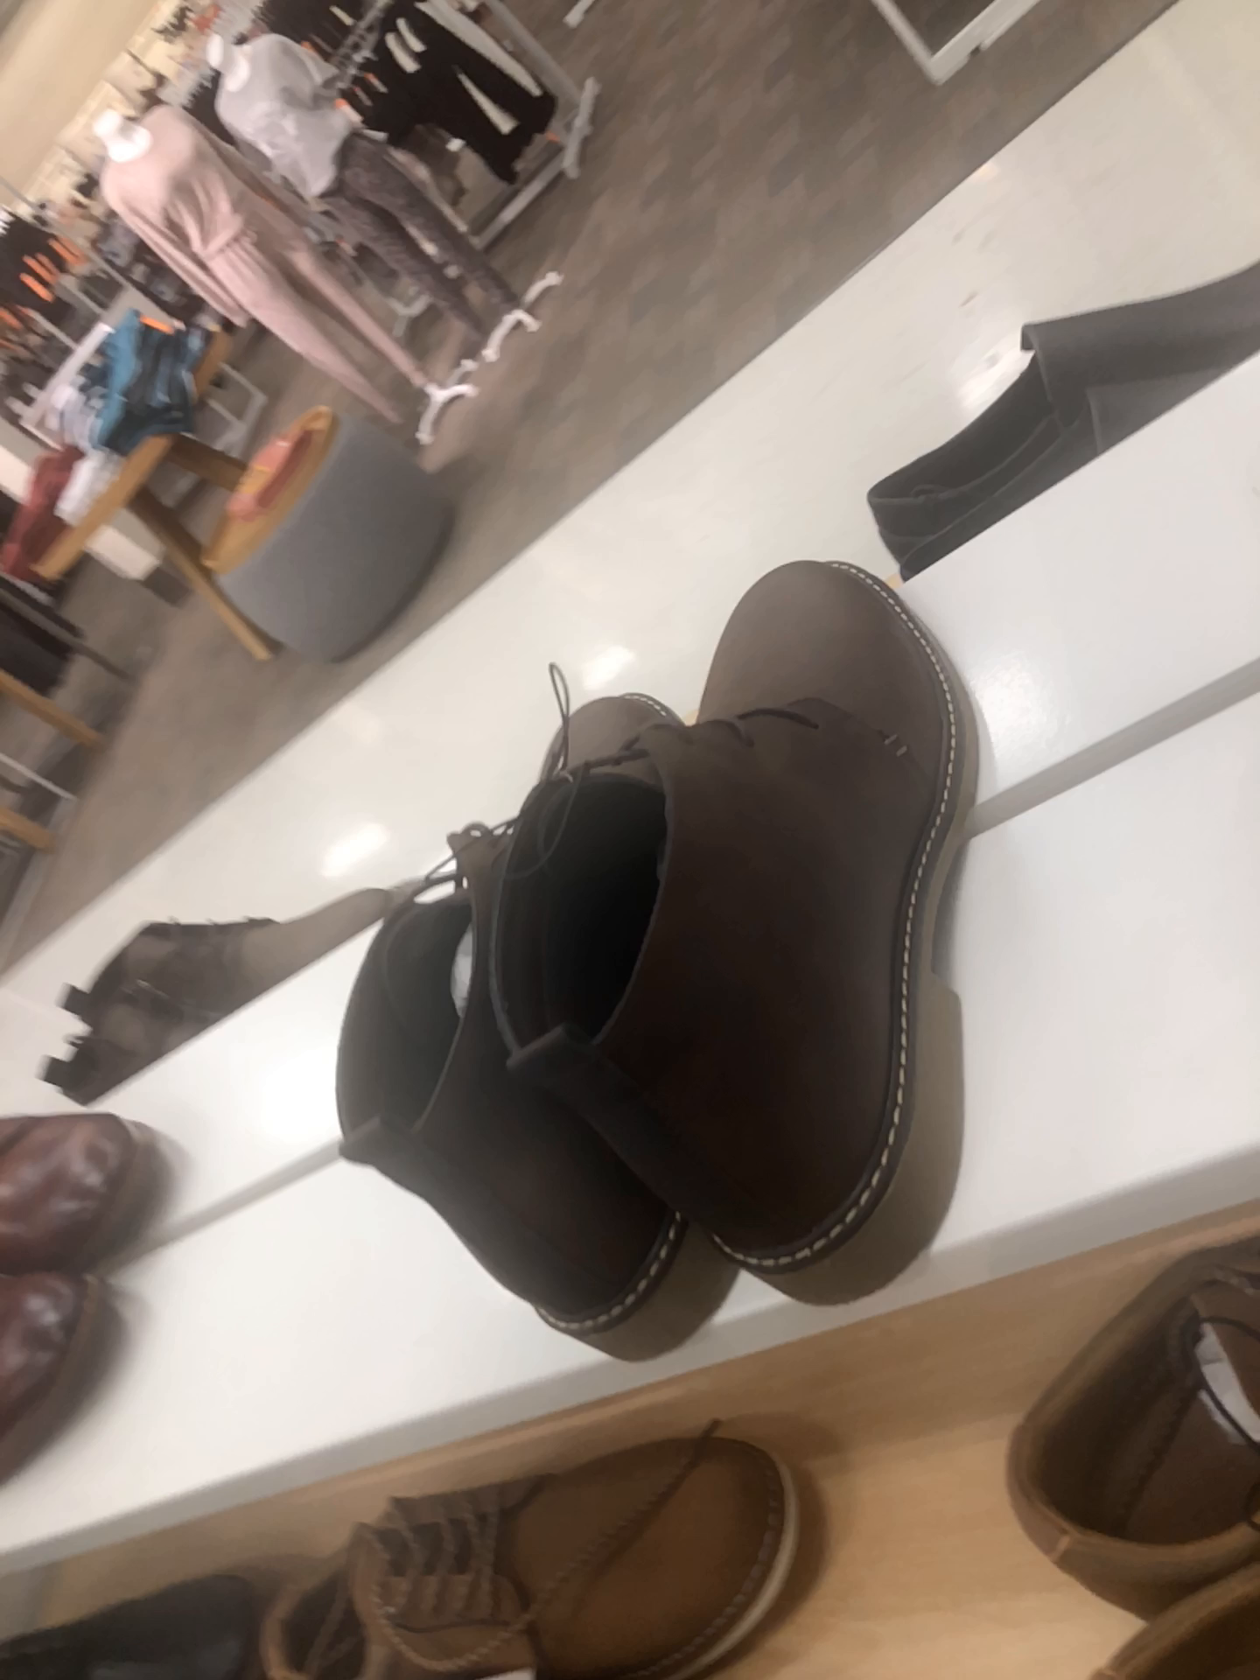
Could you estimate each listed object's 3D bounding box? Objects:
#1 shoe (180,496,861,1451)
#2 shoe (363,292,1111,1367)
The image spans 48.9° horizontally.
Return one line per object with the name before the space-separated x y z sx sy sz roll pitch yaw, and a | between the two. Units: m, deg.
shoe | -0.036 0.037 0.548 0.128 0.172 0.315 -34 35 25
shoe | 0.049 -0.010 0.490 0.133 0.172 0.314 -26 40 34
